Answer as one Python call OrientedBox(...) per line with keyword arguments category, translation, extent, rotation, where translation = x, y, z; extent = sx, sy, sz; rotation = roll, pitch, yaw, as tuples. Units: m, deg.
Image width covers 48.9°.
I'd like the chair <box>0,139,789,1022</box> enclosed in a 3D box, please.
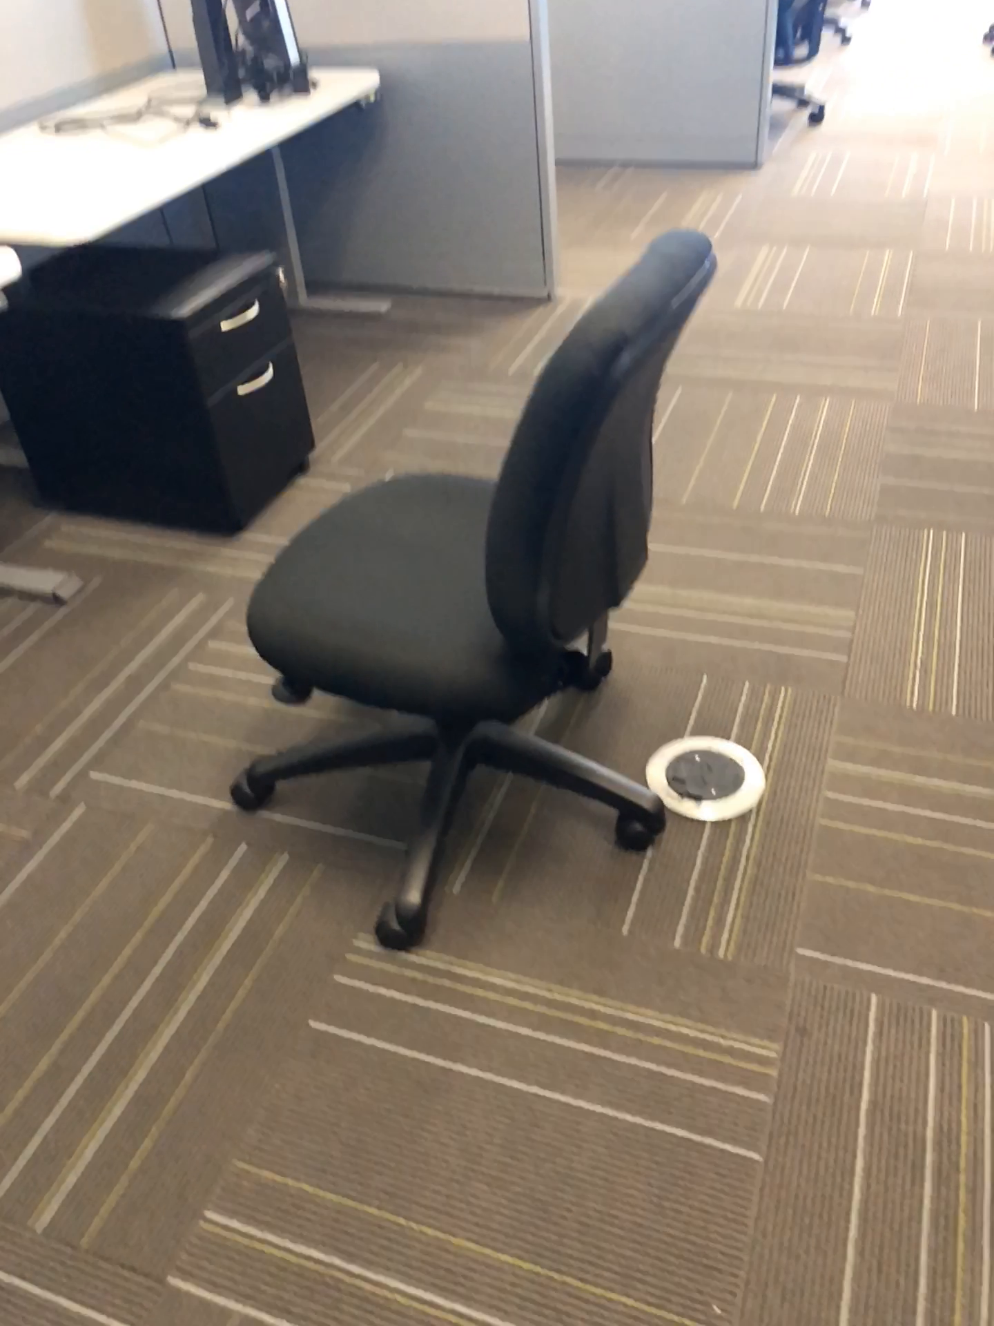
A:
OrientedBox(category="chair", translation=(-0.072, -0.172, 1.514), extent=(0.761, 0.846, 0.773), rotation=(9, 40, 18))
